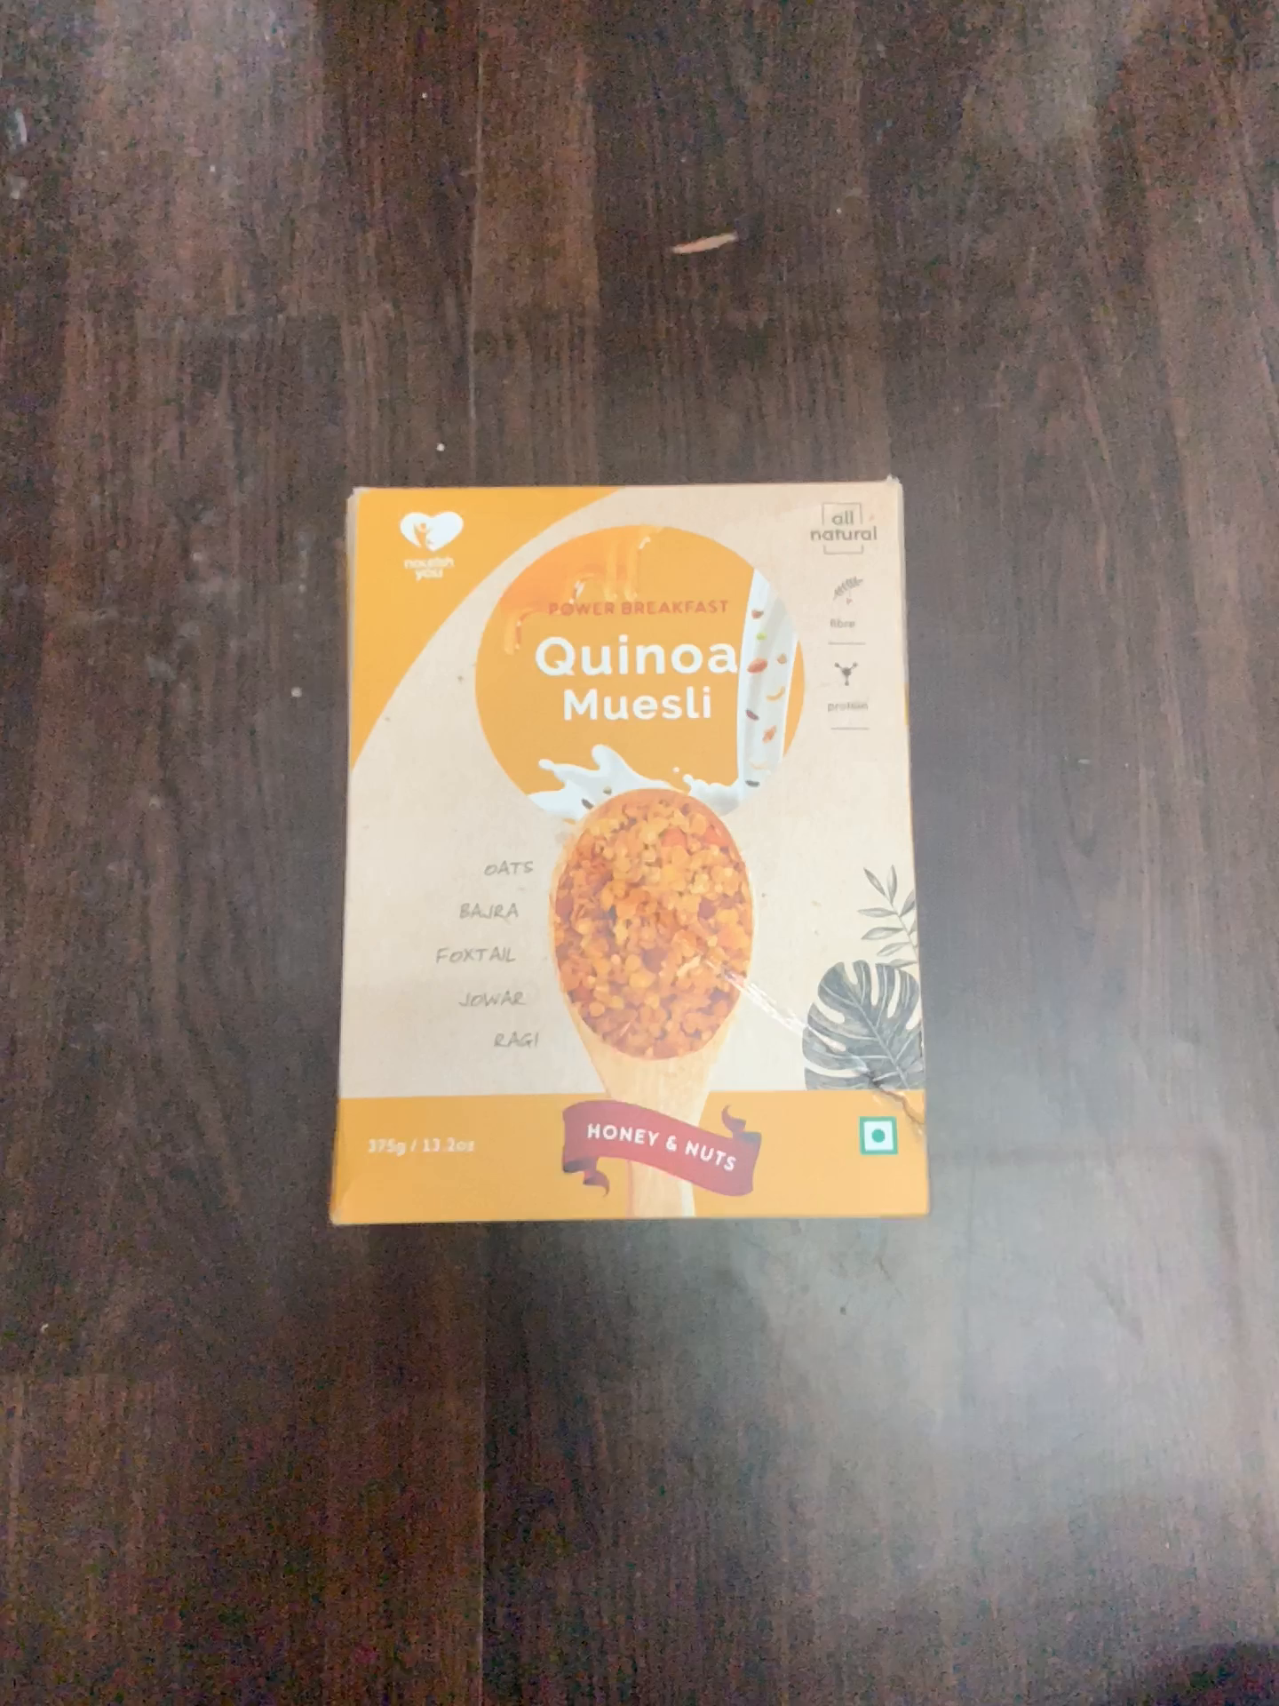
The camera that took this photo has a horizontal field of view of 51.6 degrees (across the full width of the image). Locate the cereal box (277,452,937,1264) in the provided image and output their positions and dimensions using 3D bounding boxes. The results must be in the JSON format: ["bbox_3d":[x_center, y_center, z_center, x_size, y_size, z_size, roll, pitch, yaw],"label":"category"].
[{"bbox_3d":[-0.009,0.001,0.386,0.170,0.060,0.220,0,81,1],"label":"cereal box"}]
